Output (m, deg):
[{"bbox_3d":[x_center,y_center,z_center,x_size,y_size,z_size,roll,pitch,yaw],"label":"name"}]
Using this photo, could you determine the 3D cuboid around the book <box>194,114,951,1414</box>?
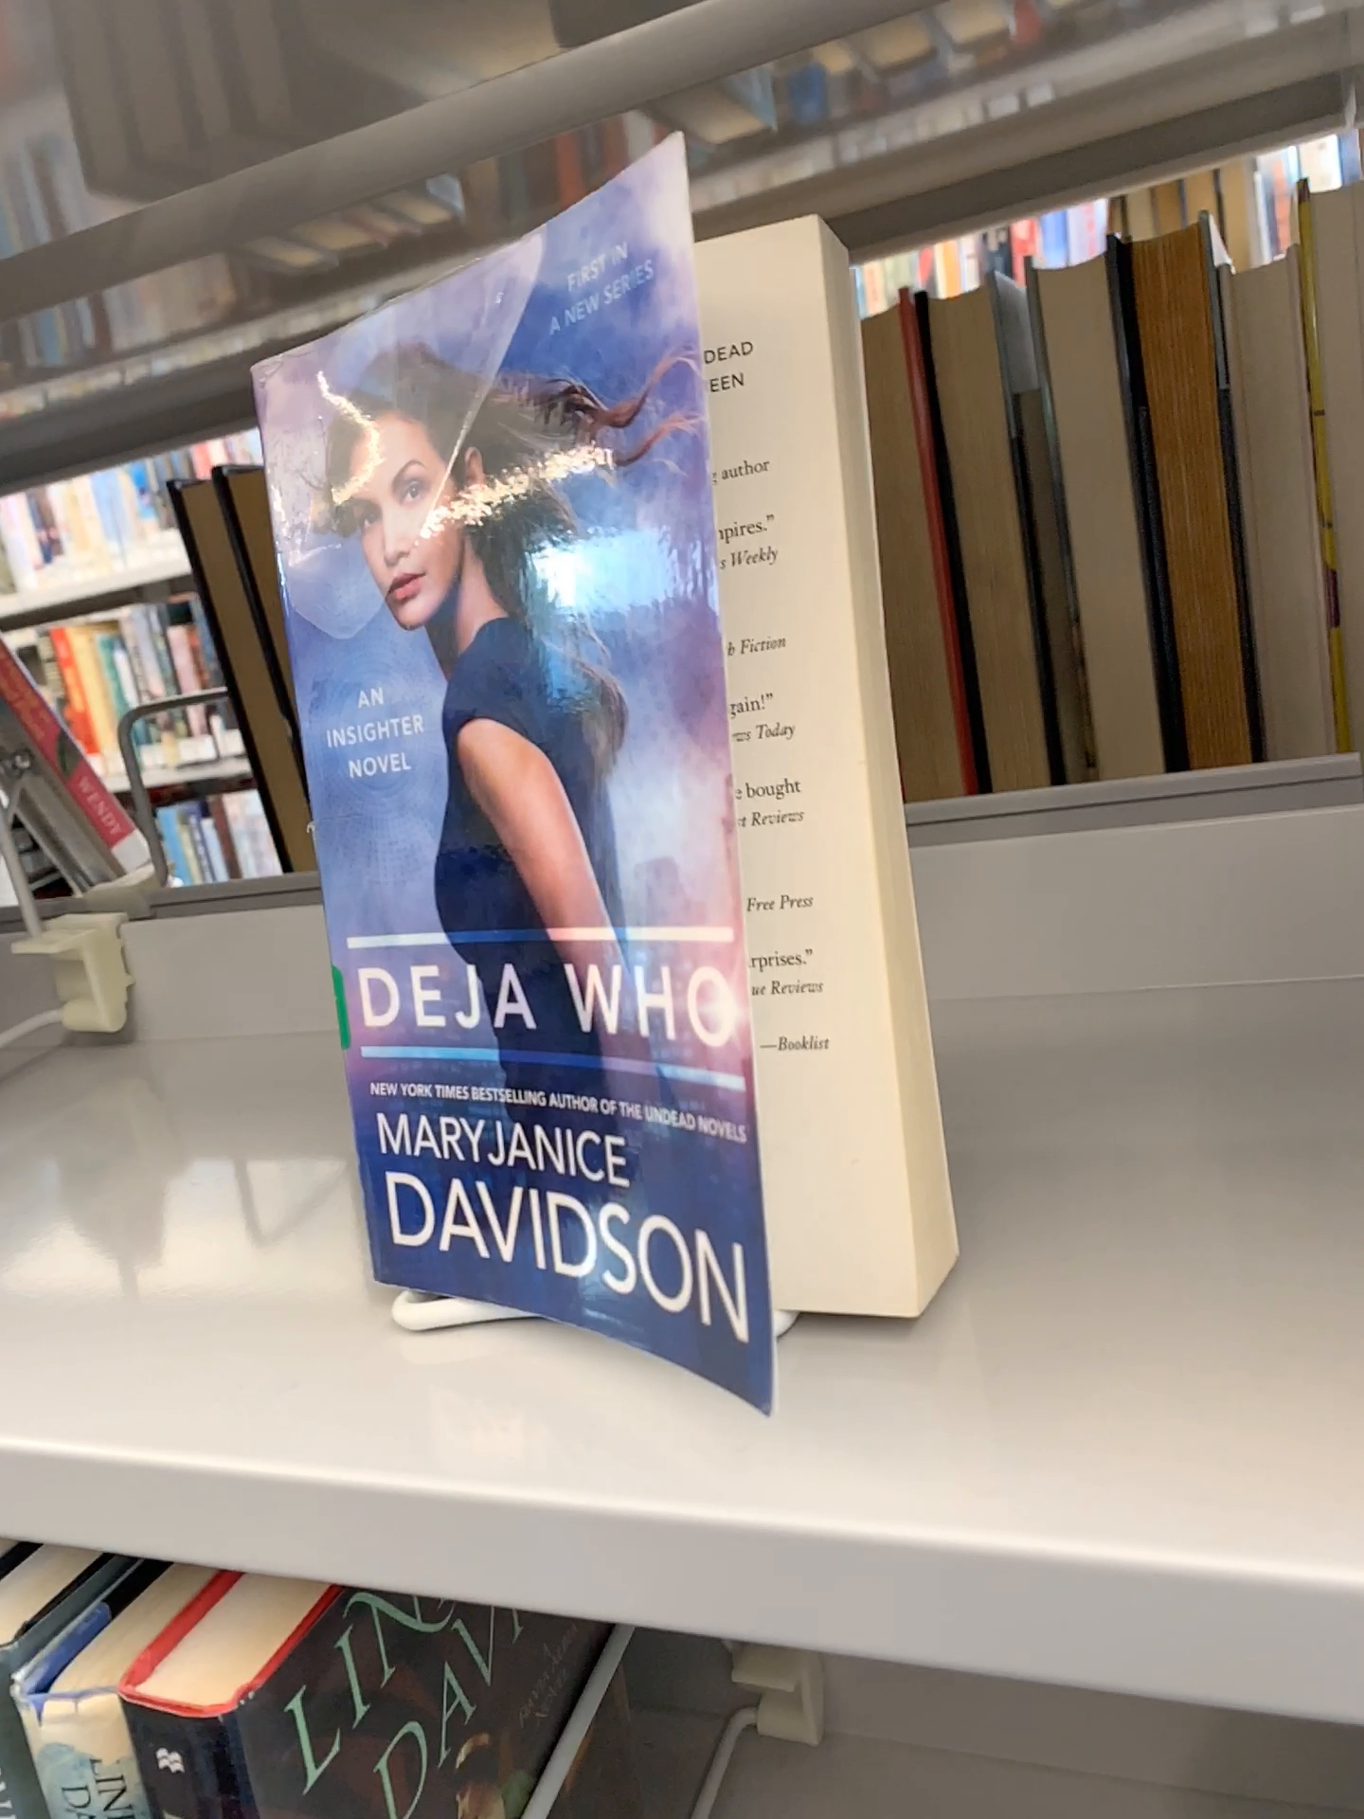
[{"bbox_3d":[-0.027,-0.020,0.268,0.136,0.190,0.047,-2,3,40],"label":"book"}]
